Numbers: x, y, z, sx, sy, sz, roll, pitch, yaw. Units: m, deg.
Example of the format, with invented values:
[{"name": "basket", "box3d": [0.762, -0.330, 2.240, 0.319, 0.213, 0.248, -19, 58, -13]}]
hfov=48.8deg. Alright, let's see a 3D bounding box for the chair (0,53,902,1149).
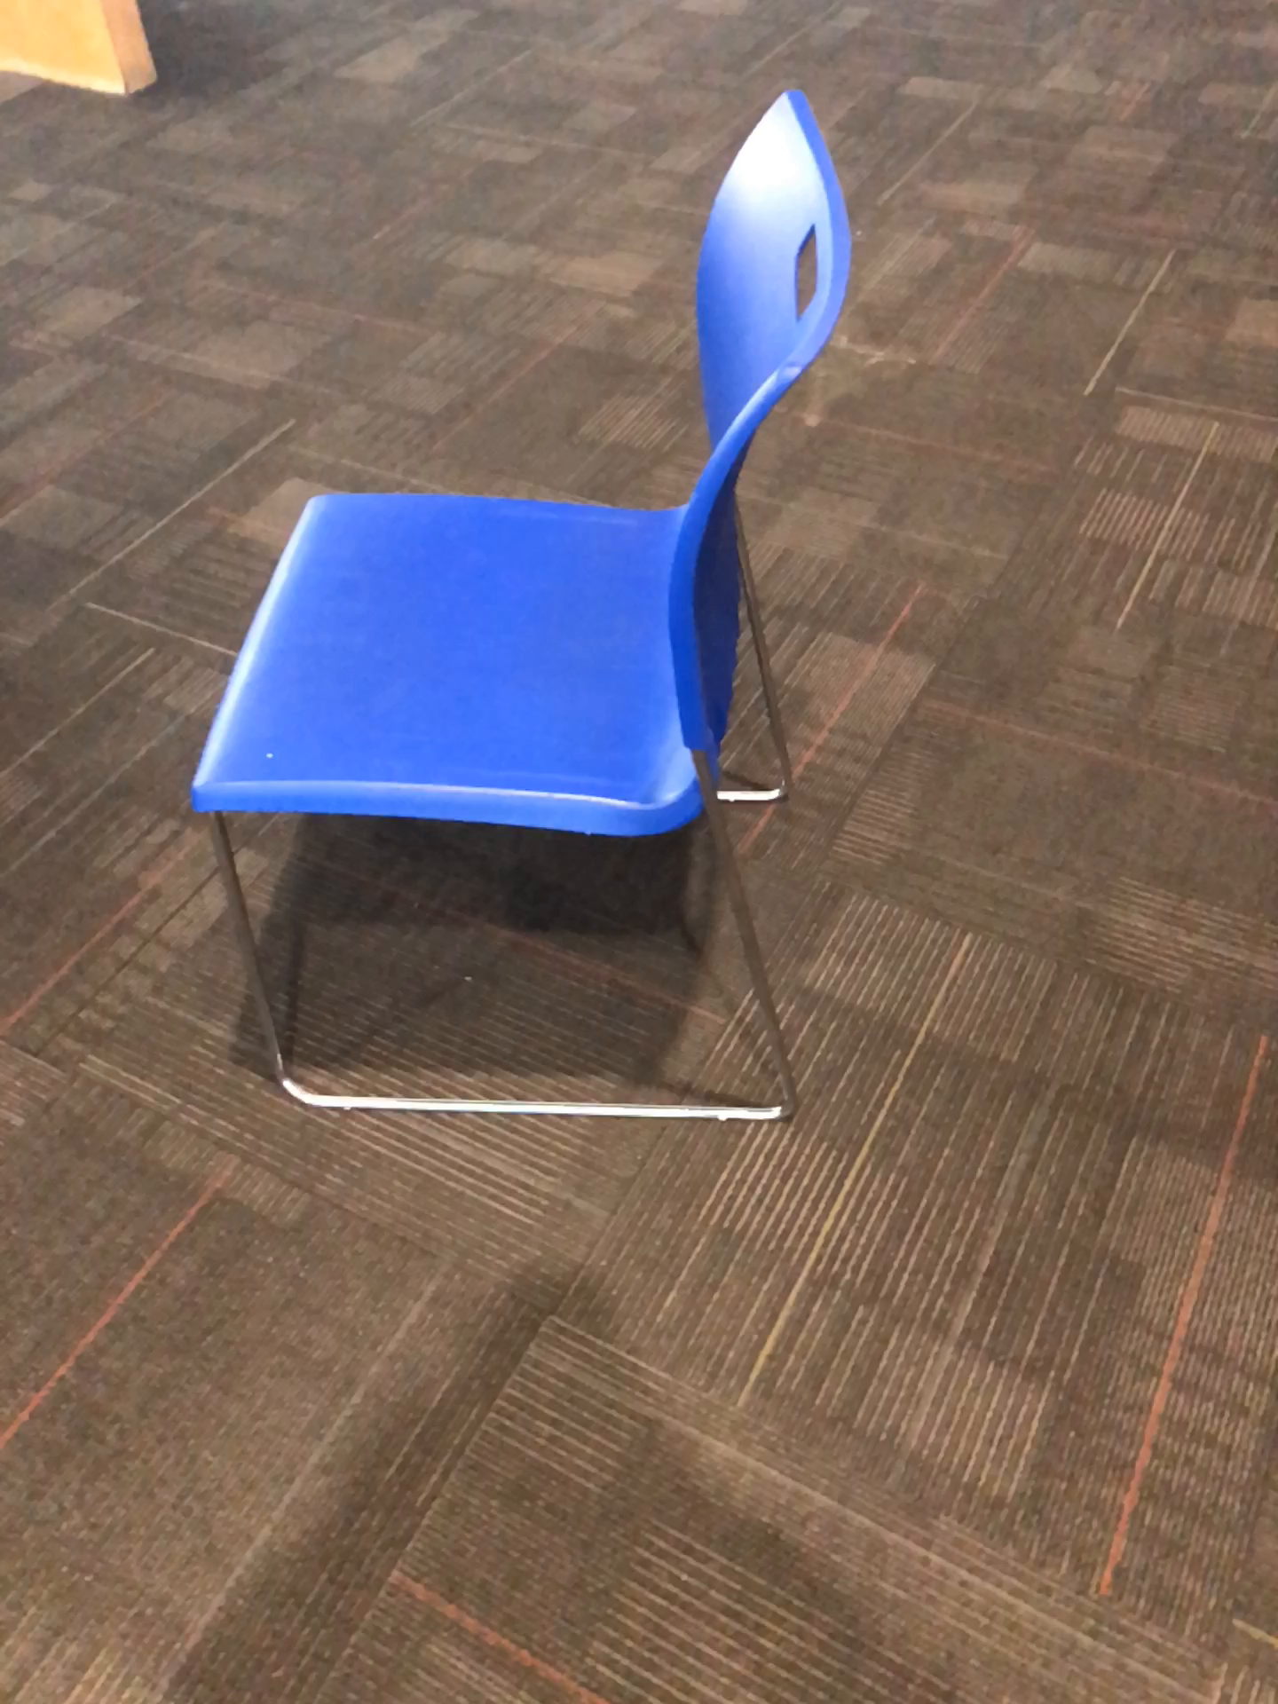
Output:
[{"name": "chair", "box3d": [-0.111, -0.198, 1.270, 0.590, 0.756, 0.583, 0, 46, 5]}]
